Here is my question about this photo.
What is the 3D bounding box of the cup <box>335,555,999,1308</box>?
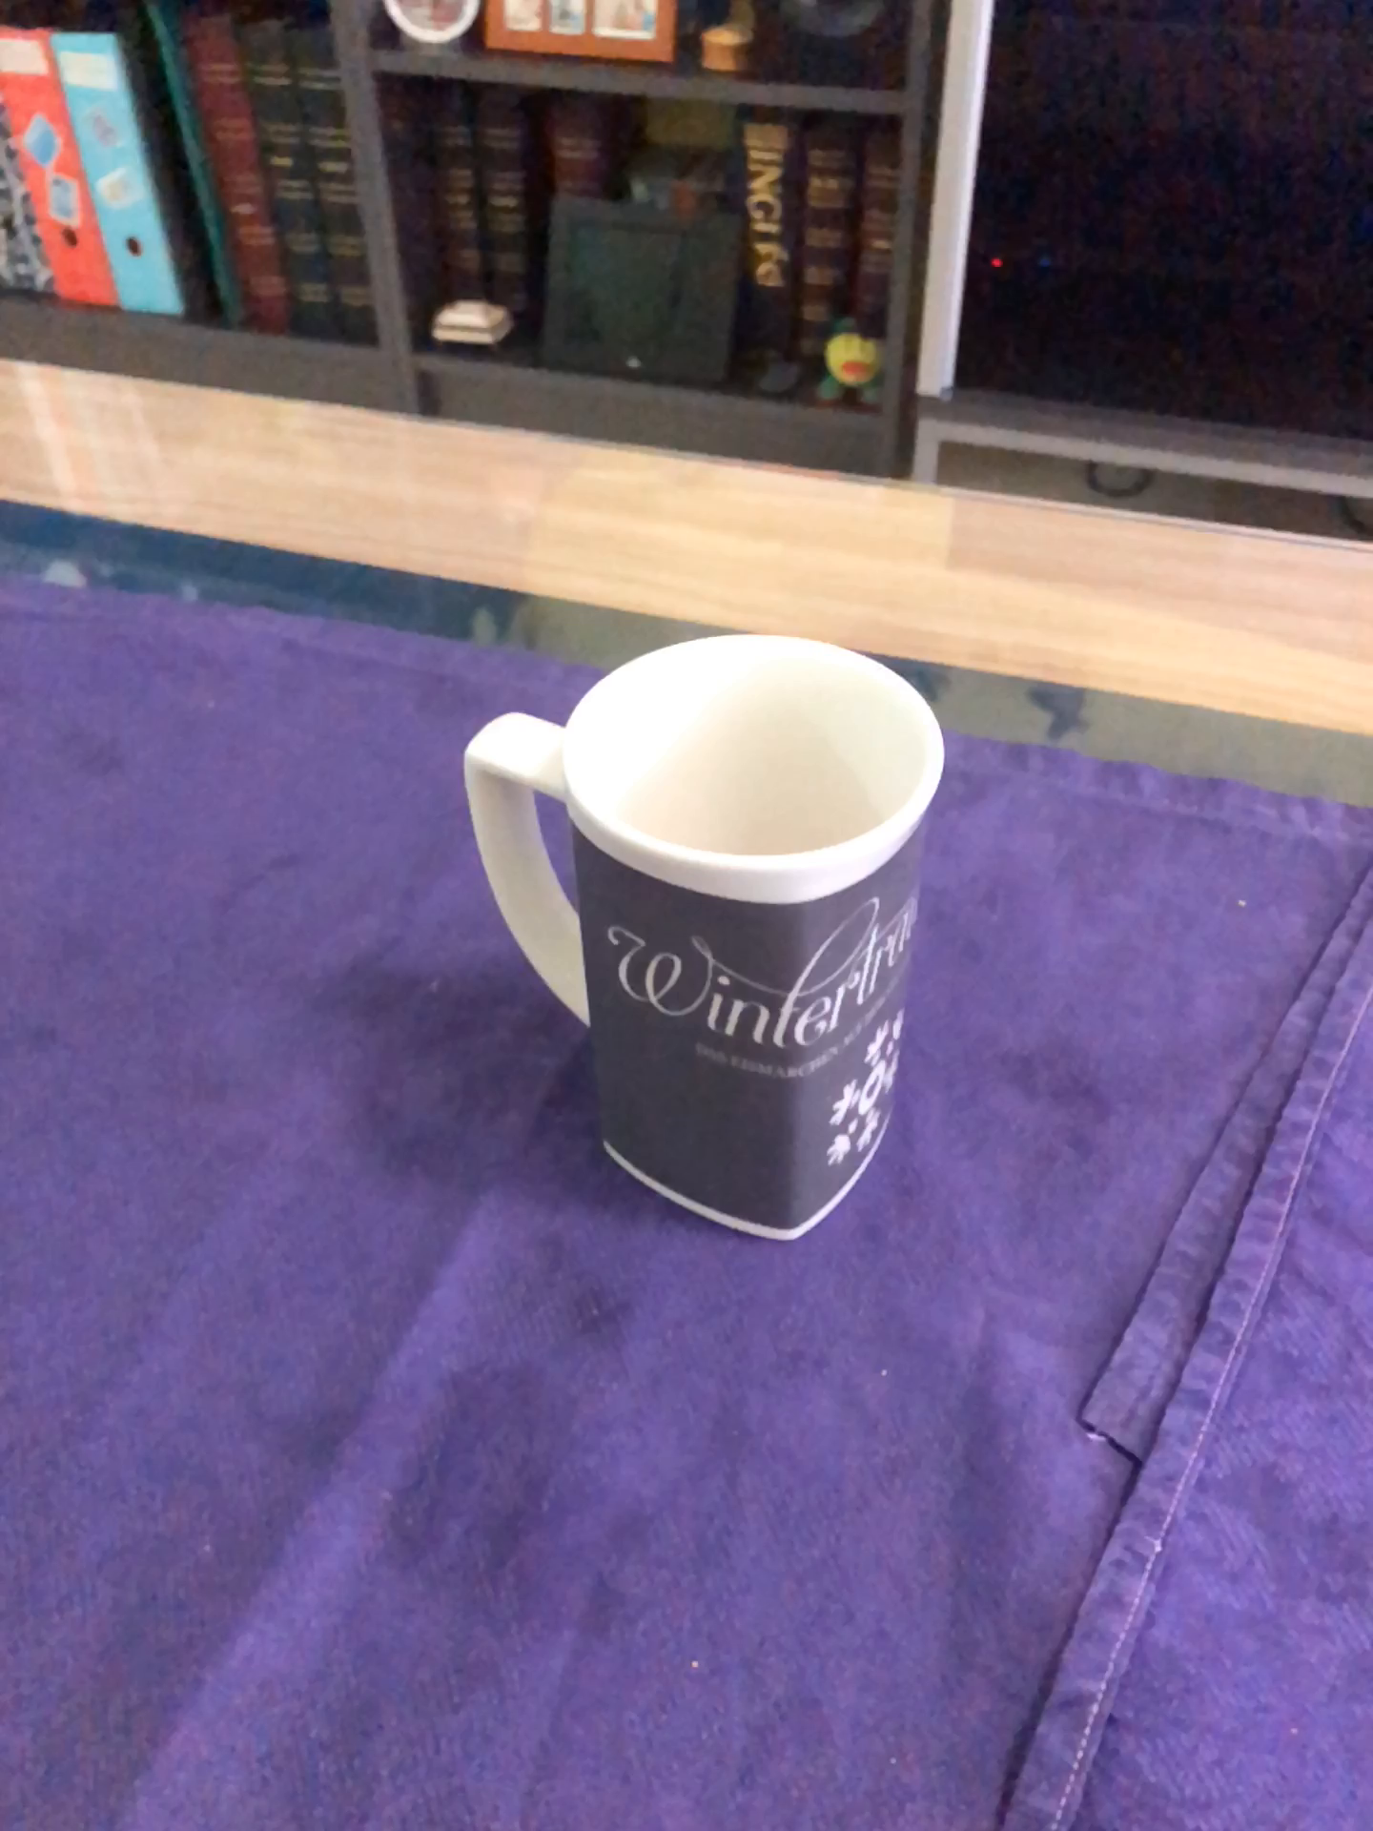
[{"bbox_3d":[-0.002,0.002,0.318,0.100,0.110,0.070,22,47,24],"label":"cup"}]
